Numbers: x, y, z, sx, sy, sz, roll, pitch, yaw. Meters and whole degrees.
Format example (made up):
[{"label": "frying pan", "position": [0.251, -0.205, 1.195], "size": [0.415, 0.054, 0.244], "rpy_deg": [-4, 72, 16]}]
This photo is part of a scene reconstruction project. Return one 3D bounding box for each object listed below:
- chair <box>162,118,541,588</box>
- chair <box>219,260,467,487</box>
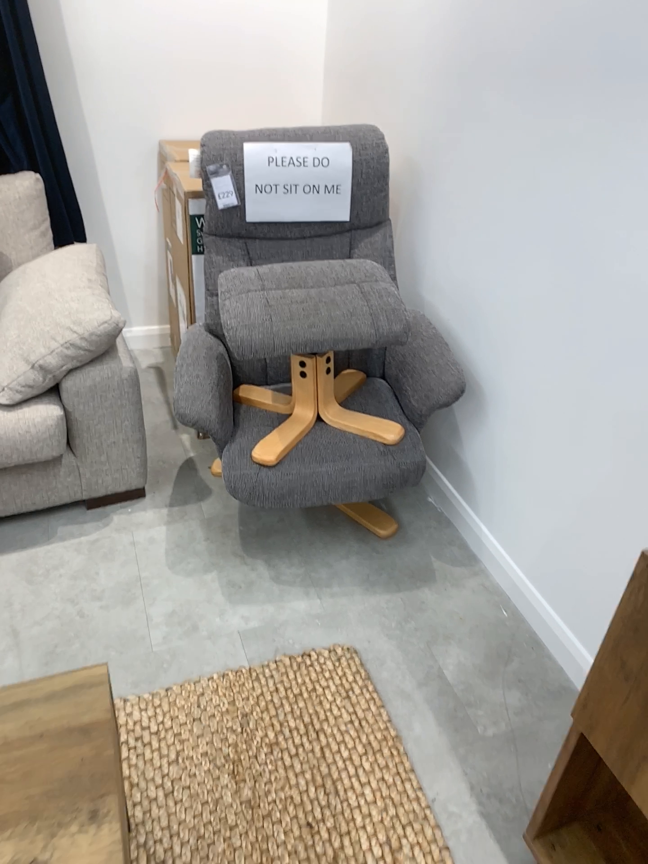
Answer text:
[{"label": "chair", "position": [-0.027, -0.245, 1.780], "size": [0.702, 0.975, 0.726], "rpy_deg": [-5, 34, -14]}, {"label": "chair", "position": [0.008, -0.173, 1.650], "size": [0.482, 0.351, 0.484], "rpy_deg": [-4, 34, -13]}]
